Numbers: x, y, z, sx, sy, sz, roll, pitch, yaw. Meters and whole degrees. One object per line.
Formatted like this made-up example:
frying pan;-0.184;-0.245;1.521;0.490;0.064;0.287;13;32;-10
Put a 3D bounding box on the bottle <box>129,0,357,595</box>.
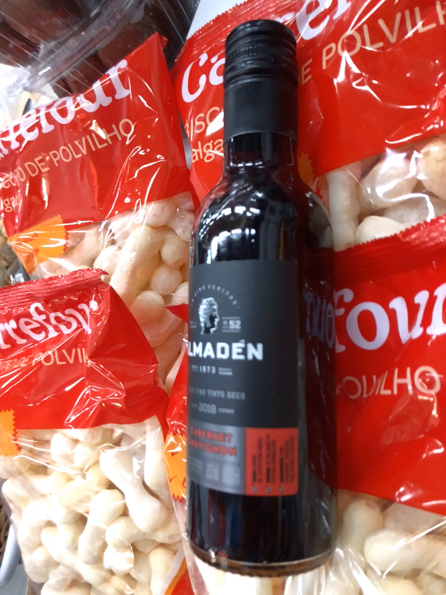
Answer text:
bottle;0.012;-0.023;0.203;0.060;0.060;0.240;-6;77;41
